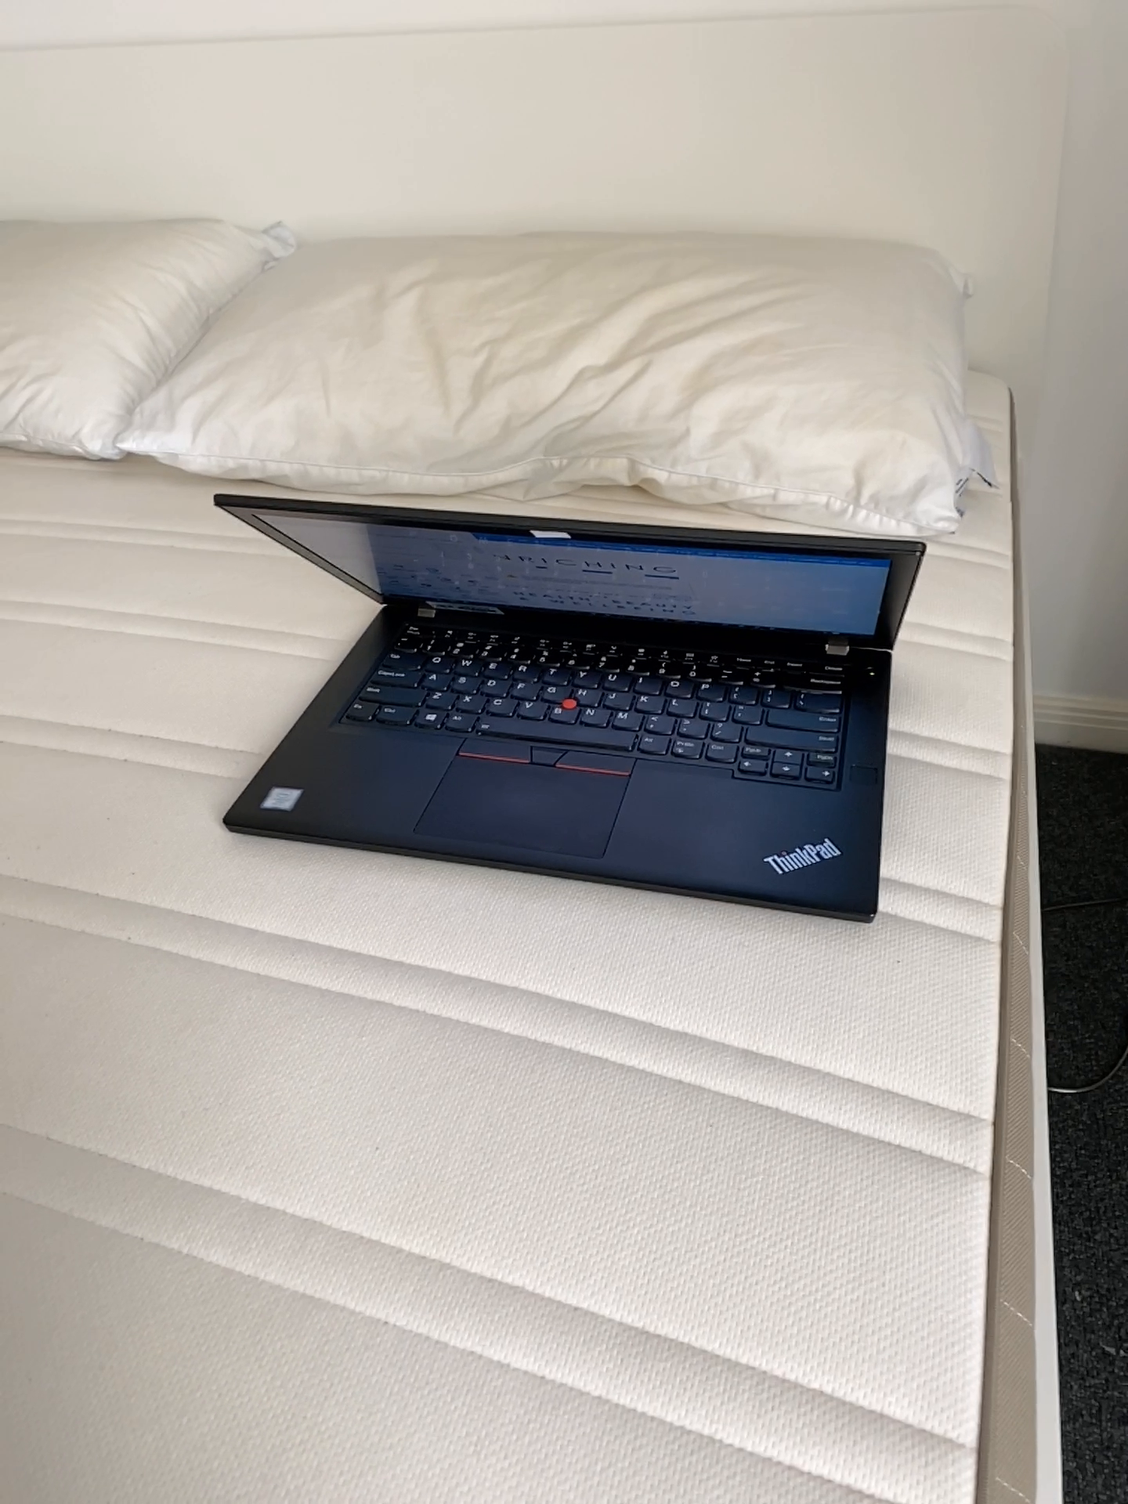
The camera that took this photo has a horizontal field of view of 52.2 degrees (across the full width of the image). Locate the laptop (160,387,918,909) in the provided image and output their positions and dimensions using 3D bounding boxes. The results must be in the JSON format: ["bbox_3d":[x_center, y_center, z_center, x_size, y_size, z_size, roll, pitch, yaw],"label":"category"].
[{"bbox_3d":[0.008,-0.072,0.607,0.324,0.150,0.221,6,38,13],"label":"laptop"}]
